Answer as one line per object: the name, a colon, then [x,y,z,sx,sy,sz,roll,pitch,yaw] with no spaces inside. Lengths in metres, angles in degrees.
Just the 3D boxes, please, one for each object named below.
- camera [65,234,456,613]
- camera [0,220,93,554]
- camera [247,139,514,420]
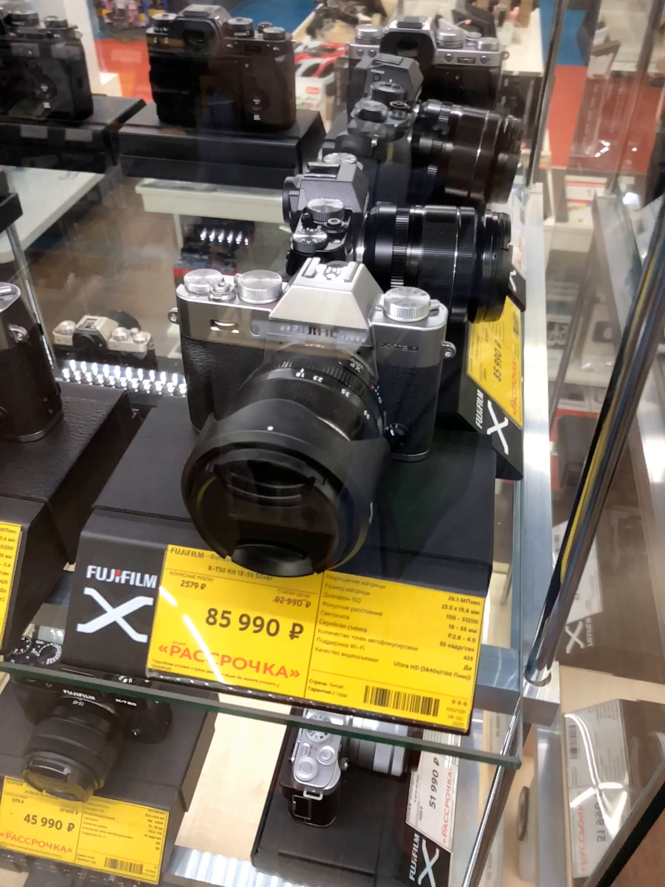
camera: [-0.018,-0.015,0.308,0.120,0.088,0.121,8,41,8]
camera: [-0.202,-0.030,0.327,0.135,0.088,0.104,8,41,8]
camera: [0.033,-0.100,0.418,0.123,0.088,0.145,7,41,7]
